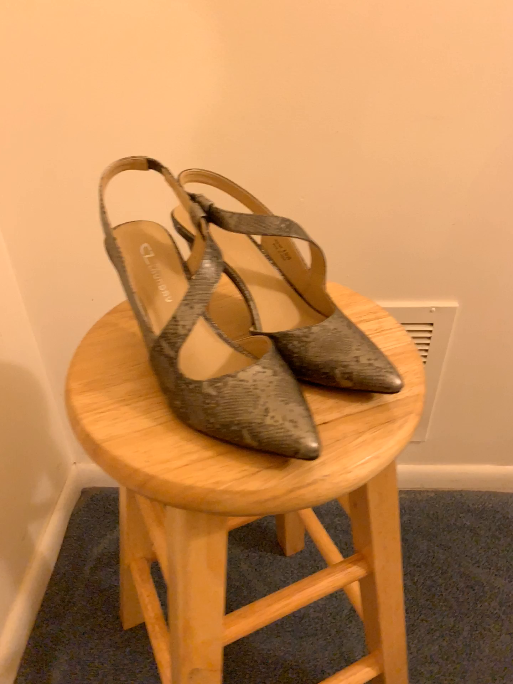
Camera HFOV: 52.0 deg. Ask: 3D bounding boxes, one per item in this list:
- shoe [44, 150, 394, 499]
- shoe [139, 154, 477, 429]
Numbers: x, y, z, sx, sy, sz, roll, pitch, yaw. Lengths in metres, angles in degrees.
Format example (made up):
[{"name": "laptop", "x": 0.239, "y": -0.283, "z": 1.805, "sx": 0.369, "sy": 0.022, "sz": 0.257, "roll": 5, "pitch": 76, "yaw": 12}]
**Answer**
[{"name": "shoe", "x": -0.046, "y": -0.038, "z": 0.388, "sx": 0.100, "sy": 0.125, "sz": 0.270, "roll": -25, "pitch": 42, "yaw": -29}, {"name": "shoe", "x": 0.024, "y": -0.060, "z": 0.425, "sx": 0.103, "sy": 0.106, "sz": 0.251, "roll": -28, "pitch": 44, "yaw": -33}]
